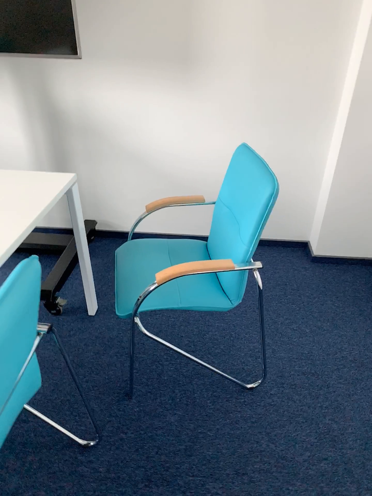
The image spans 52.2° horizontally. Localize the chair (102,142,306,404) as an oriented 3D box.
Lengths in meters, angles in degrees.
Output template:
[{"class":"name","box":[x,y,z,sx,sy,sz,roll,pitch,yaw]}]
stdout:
[{"class":"chair","box":[0.010,0.079,1.587,0.600,0.845,0.623,-4,33,-8]}]
